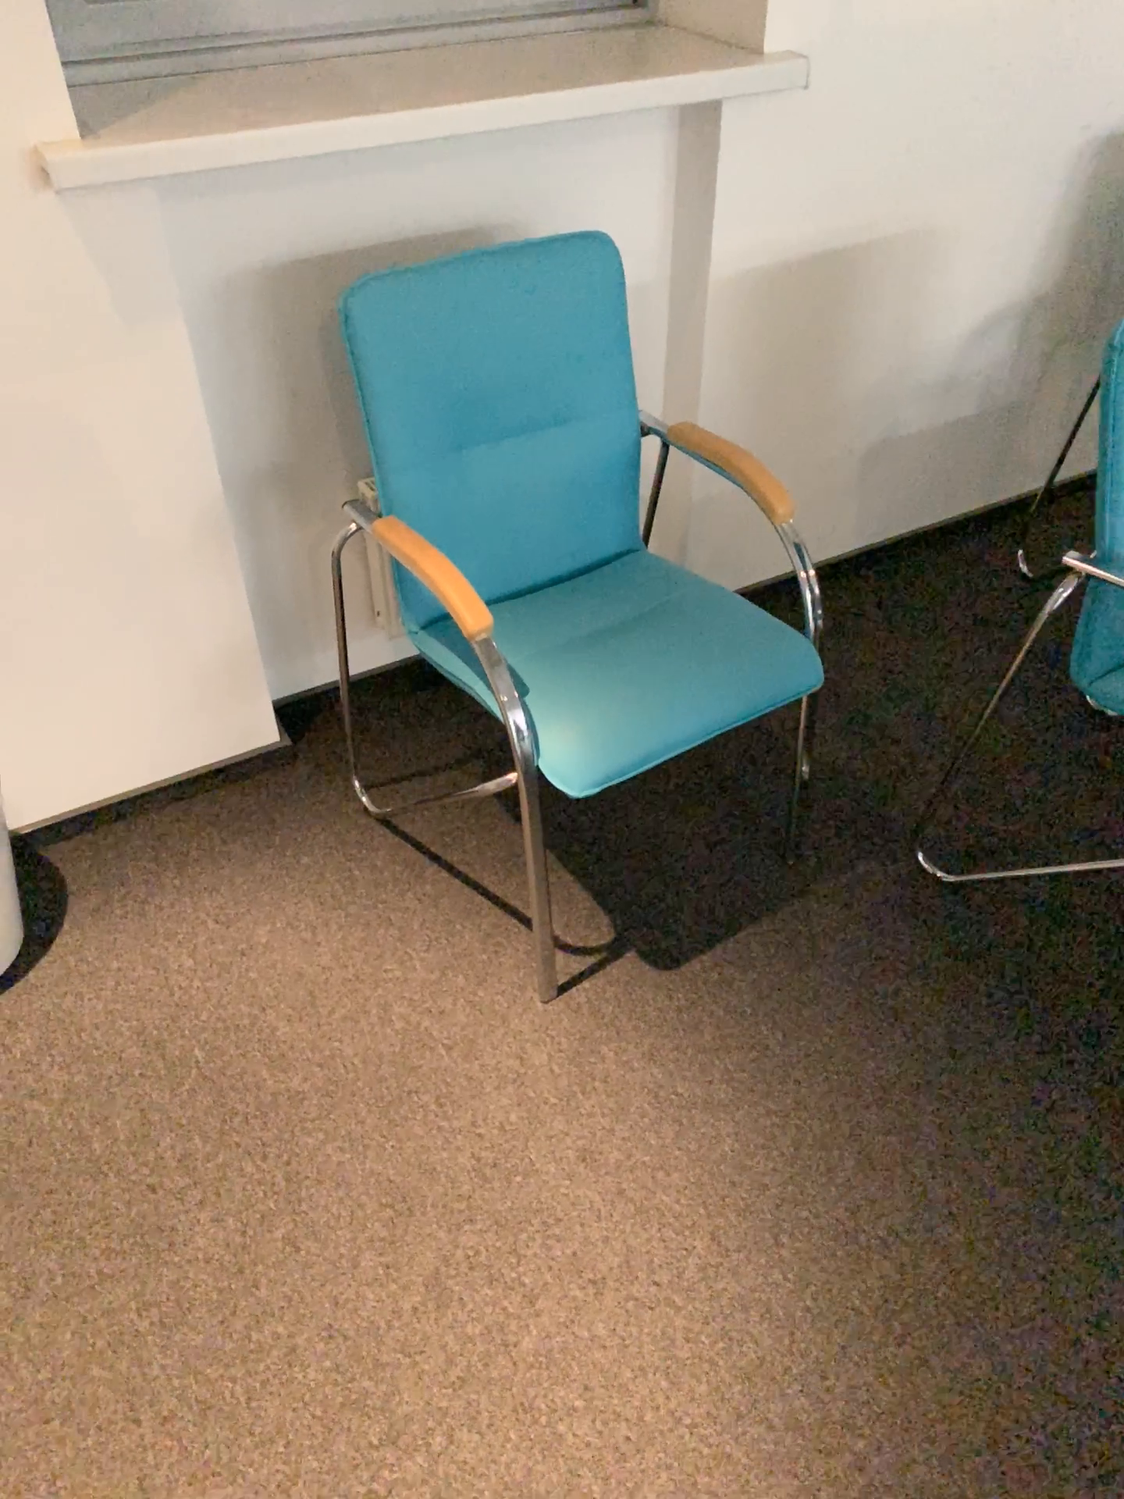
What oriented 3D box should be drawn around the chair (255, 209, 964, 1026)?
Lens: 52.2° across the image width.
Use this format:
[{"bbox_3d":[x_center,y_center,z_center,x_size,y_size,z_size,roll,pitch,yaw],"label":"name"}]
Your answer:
[{"bbox_3d":[0.040,-0.213,1.702,0.631,0.855,0.632,-24,46,-25],"label":"chair"}]
